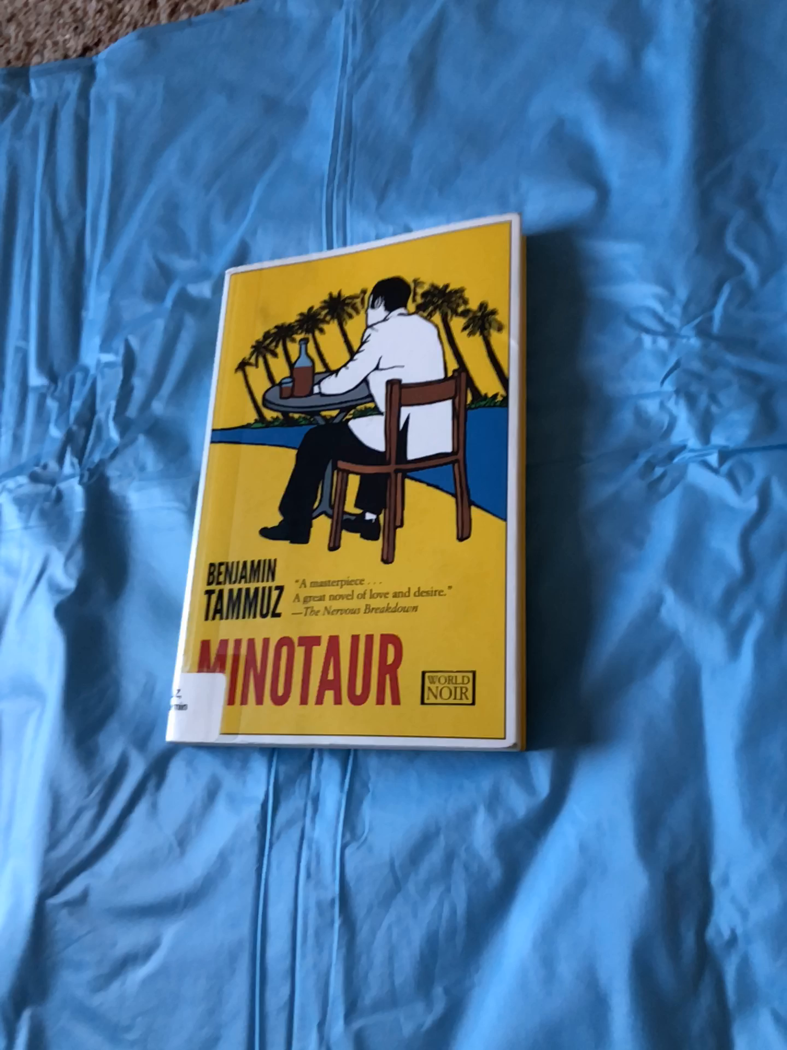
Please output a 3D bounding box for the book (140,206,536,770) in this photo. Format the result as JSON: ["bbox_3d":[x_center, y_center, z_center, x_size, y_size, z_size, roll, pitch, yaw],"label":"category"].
[{"bbox_3d":[-0.017,-0.017,0.346,0.142,0.027,0.212,-4,70,19],"label":"book"}]
